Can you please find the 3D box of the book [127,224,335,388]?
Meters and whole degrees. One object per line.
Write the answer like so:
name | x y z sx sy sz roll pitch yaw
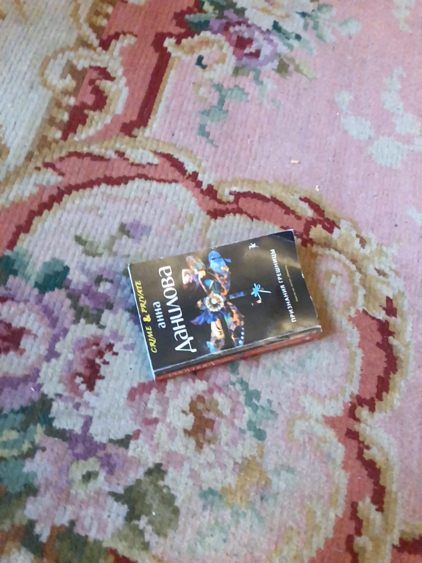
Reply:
book | 0.015 0.022 0.439 0.165 0.050 0.110 -13 74 -11
